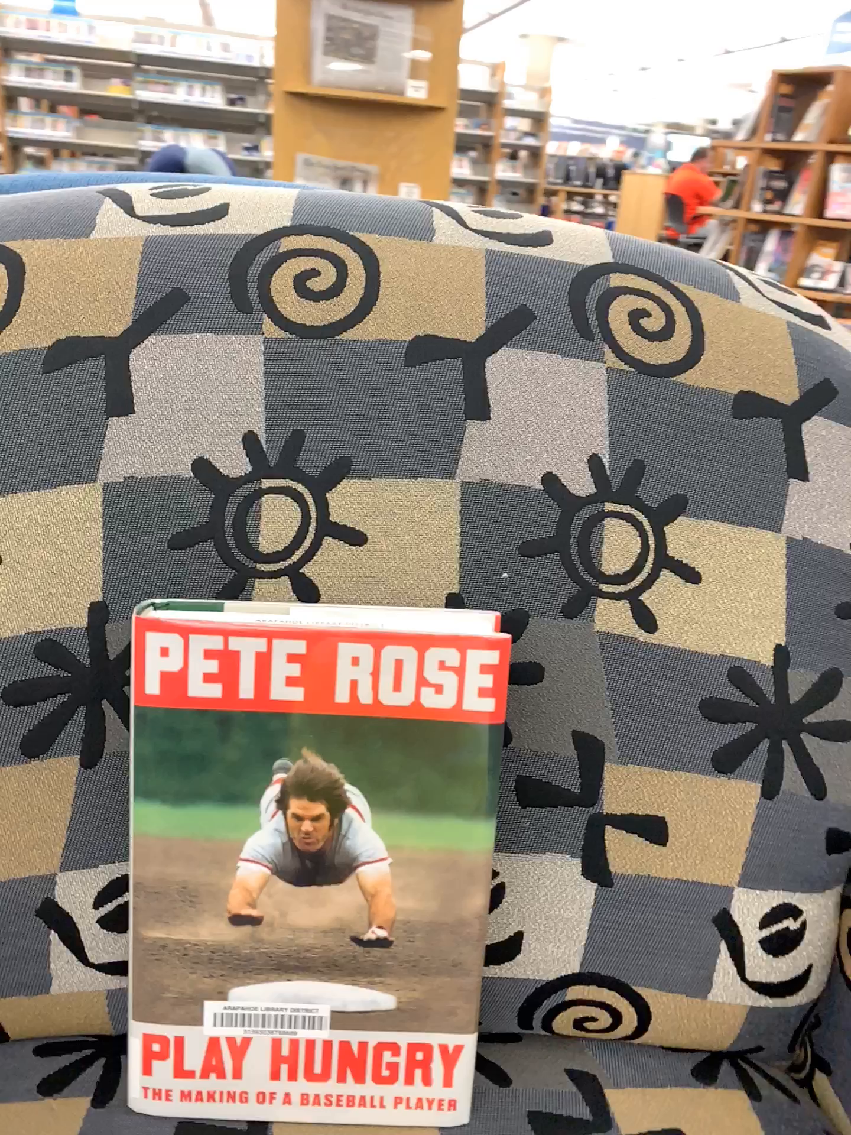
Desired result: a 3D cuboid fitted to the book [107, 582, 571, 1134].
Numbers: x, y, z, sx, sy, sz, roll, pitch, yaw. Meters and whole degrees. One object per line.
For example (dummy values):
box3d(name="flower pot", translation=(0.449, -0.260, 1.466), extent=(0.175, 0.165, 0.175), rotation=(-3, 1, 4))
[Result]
box3d(name="book", translation=(-0.043, 0.139, 0.407), extent=(0.190, 0.249, 0.040), rotation=(4, 10, -4))
